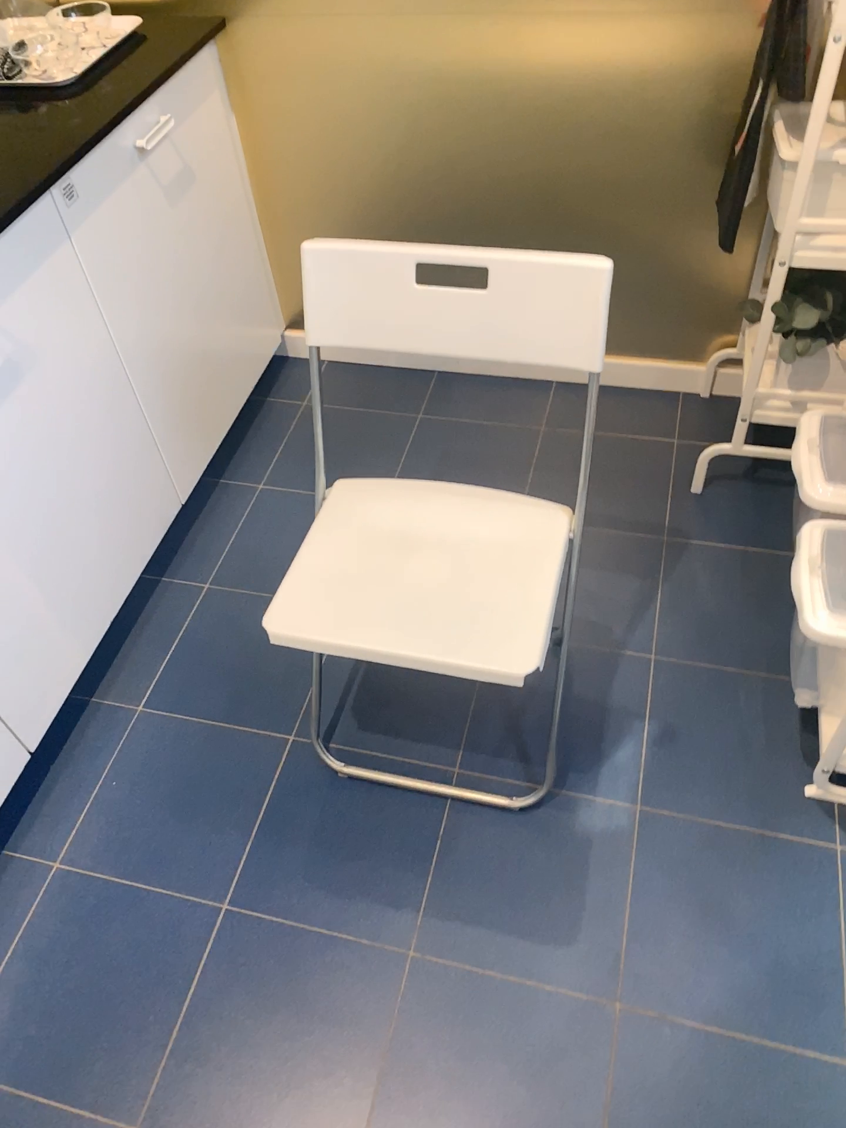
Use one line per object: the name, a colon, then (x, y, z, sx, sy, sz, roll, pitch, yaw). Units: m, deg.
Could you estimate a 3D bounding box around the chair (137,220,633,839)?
chair: (0.013, -0.014, 1.211, 0.440, 0.747, 0.421, 8, 50, 13)
